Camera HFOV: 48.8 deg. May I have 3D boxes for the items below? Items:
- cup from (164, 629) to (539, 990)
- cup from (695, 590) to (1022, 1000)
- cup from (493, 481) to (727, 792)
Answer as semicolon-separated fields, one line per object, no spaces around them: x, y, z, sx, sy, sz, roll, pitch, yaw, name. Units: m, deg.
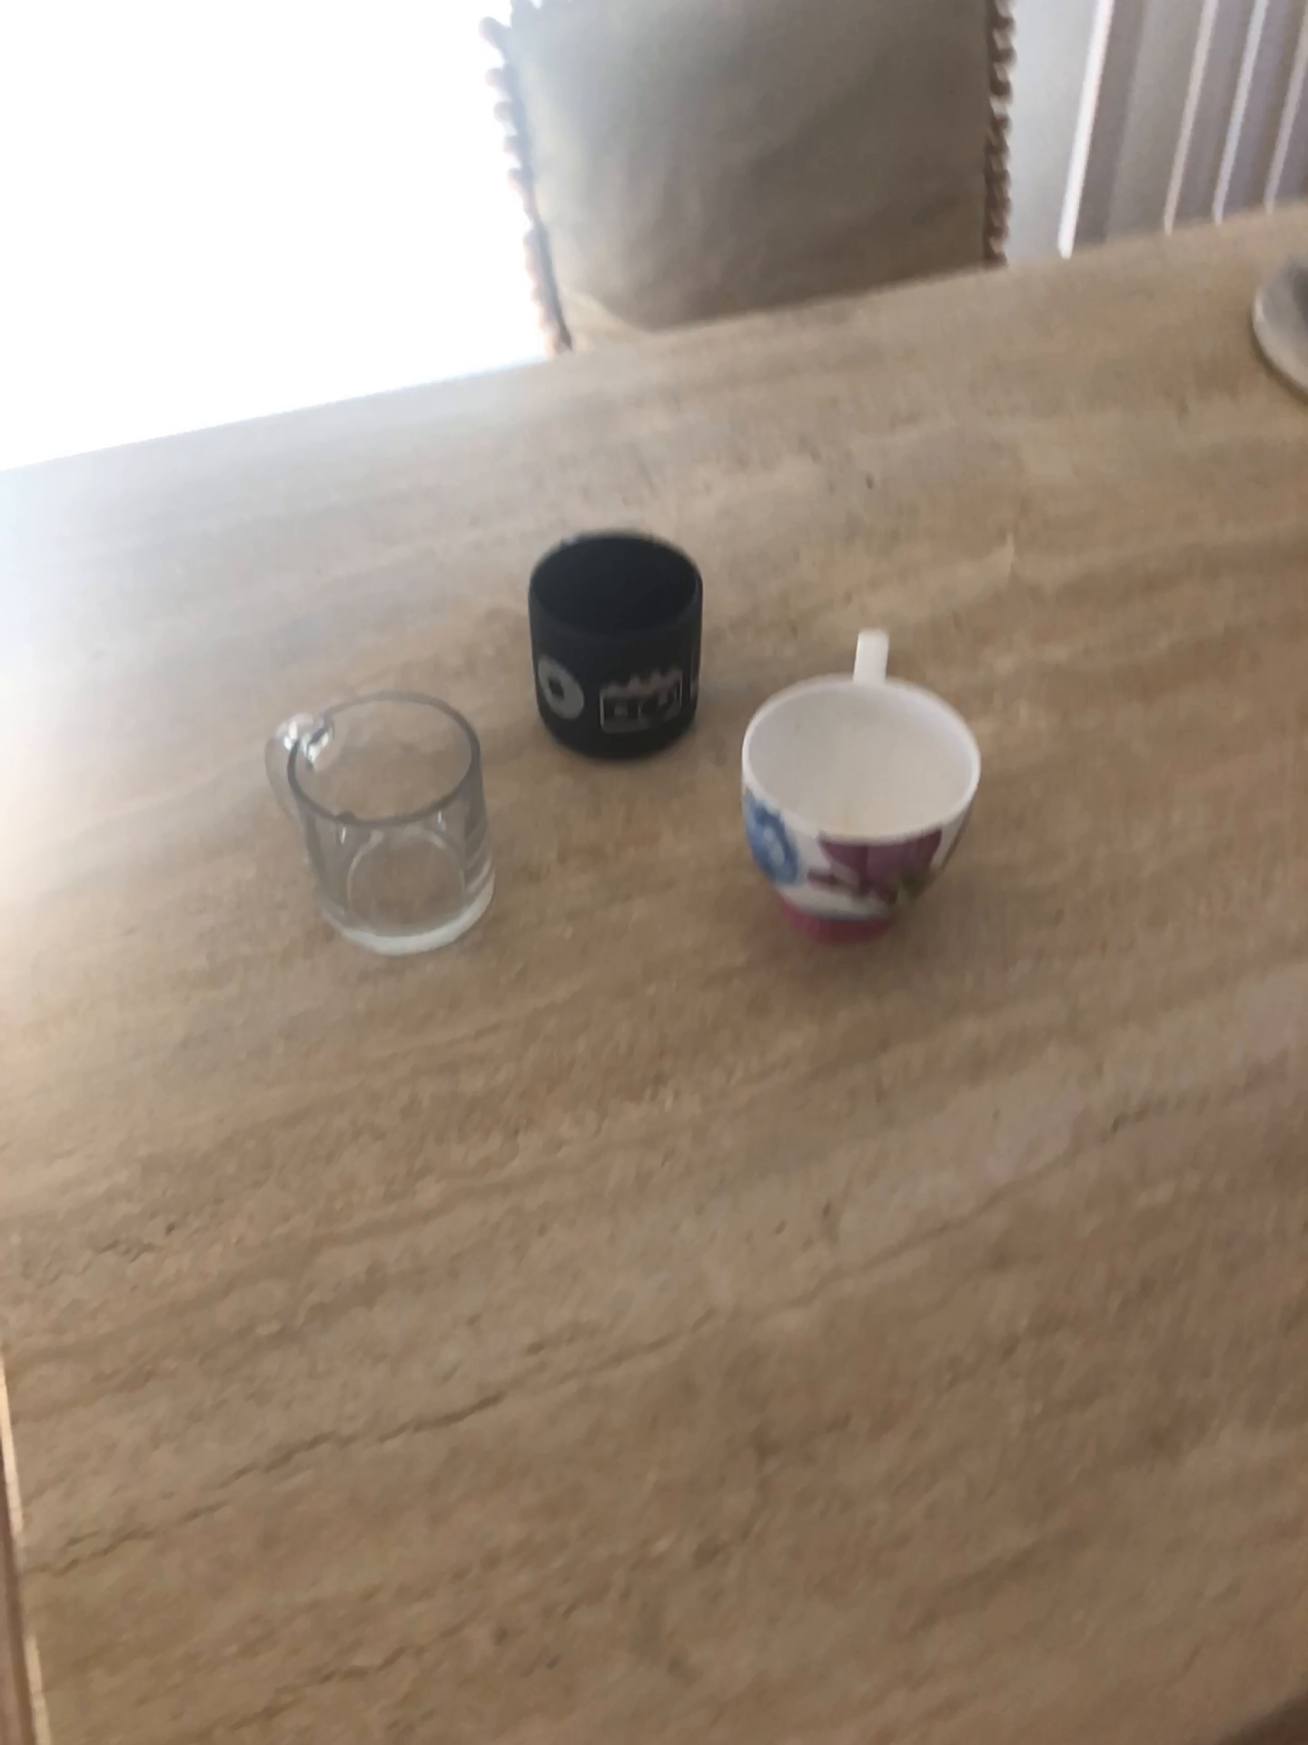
-0.141;-0.032;0.689;0.140;0.089;0.091;27;53;22;cup
0.099;-0.041;0.690;0.120;0.089;0.161;12;49;10;cup
-0.026;-0.131;0.789;0.100;0.089;0.141;-8;49;-8;cup
